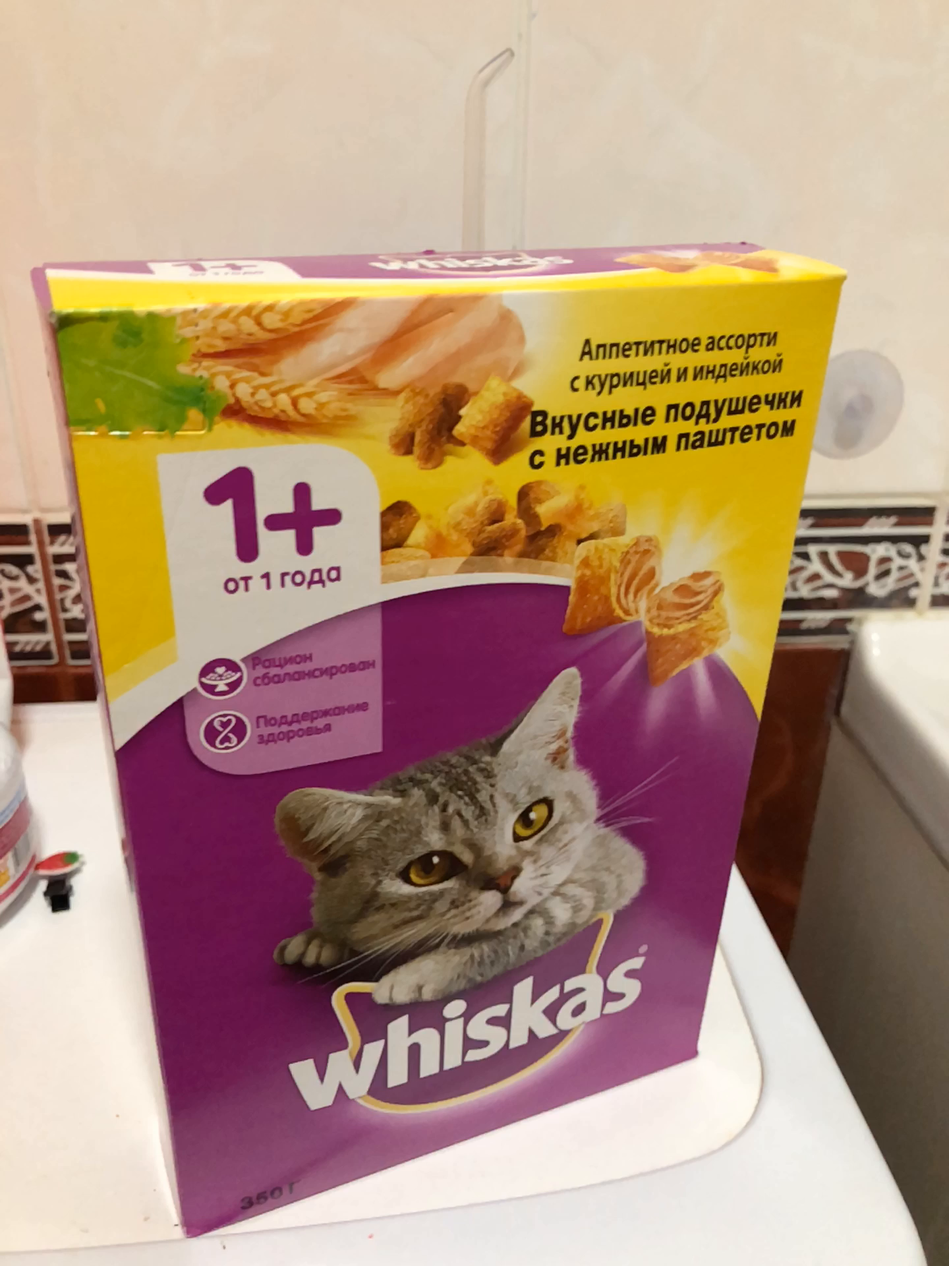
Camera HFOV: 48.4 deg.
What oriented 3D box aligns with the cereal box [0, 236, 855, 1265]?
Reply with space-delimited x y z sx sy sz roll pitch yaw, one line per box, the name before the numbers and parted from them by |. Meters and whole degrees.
cereal box | -0.007 0.031 0.240 0.150 0.218 0.040 -10 30 -21
